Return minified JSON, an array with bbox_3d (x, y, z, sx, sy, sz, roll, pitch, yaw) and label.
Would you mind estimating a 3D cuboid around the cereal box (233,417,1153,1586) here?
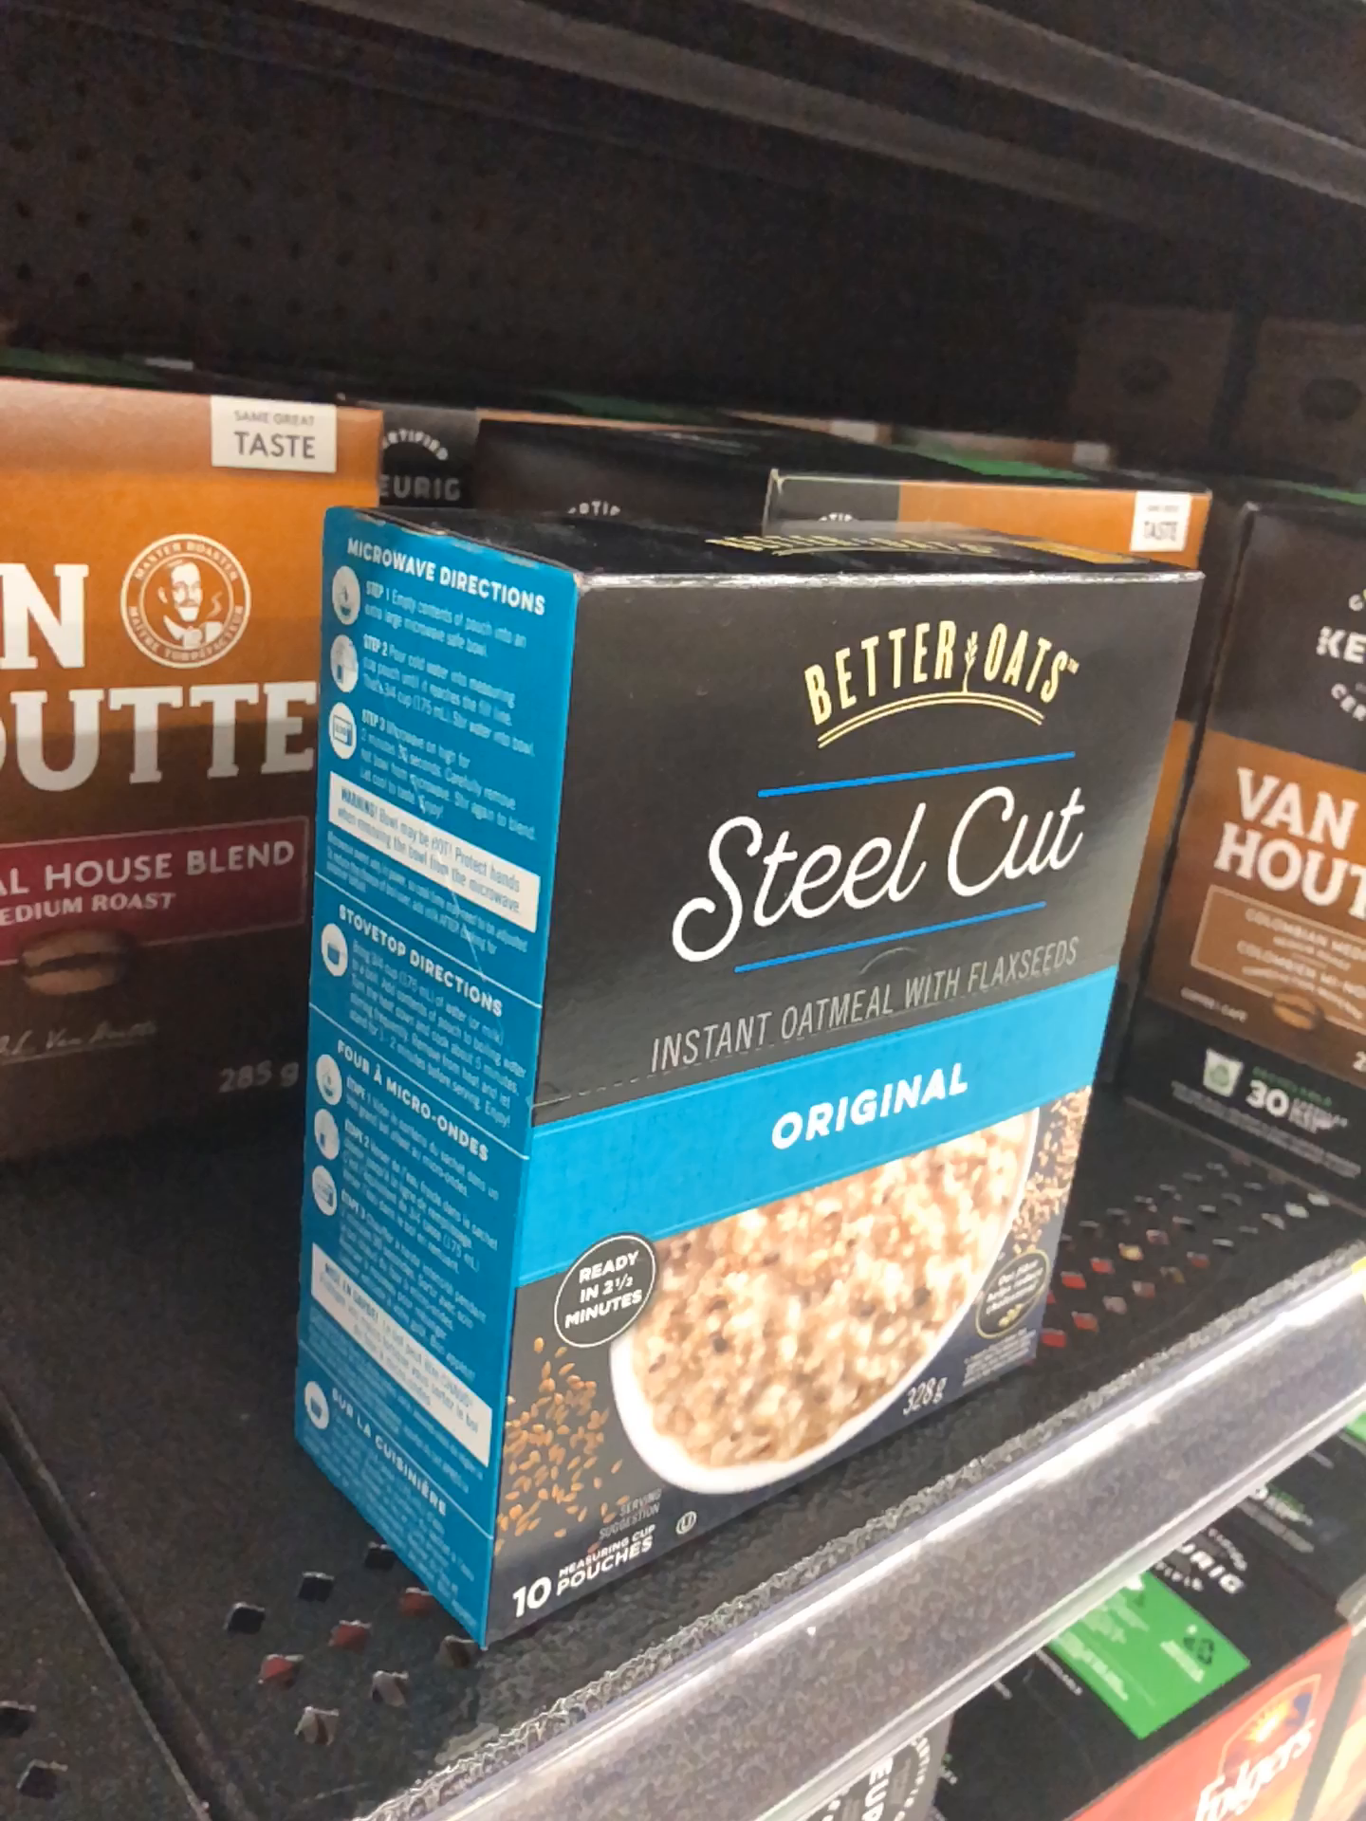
[{"bbox_3d":[0.002,0.009,0.294,0.150,0.179,0.060,-10,27,-42],"label":"cereal box"}]
